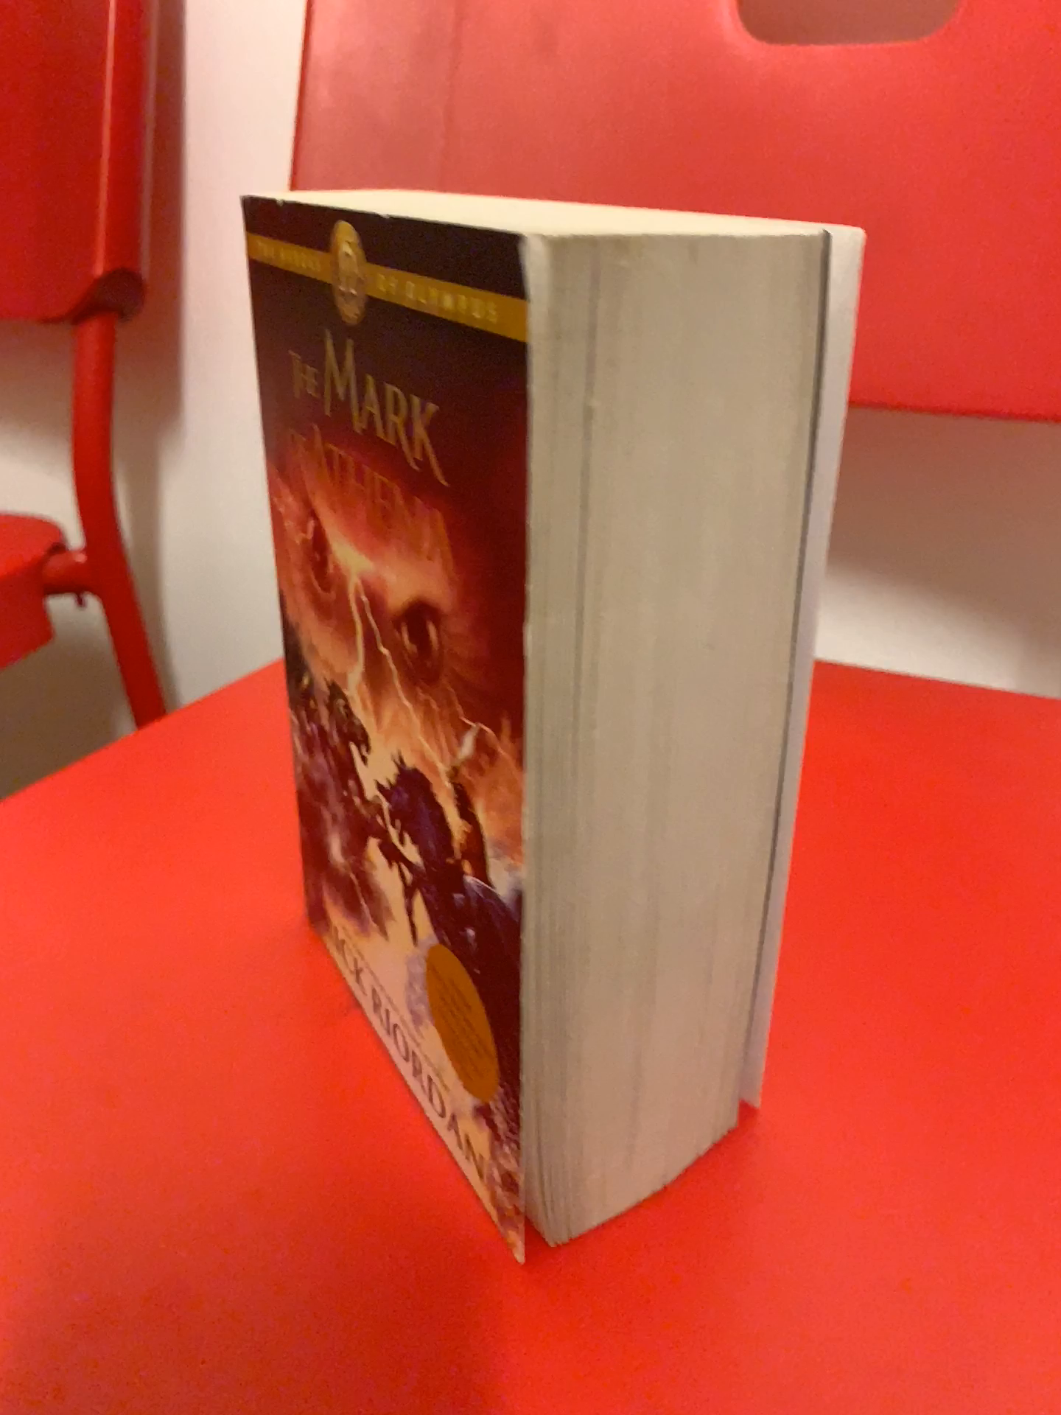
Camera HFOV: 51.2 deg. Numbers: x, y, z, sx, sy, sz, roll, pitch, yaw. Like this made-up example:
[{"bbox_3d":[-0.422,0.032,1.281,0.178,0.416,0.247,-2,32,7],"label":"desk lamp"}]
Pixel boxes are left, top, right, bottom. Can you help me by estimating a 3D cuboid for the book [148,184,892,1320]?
[{"bbox_3d":[-0.014,-0.002,0.238,0.061,0.194,0.140,-18,32,-32],"label":"book"}]
